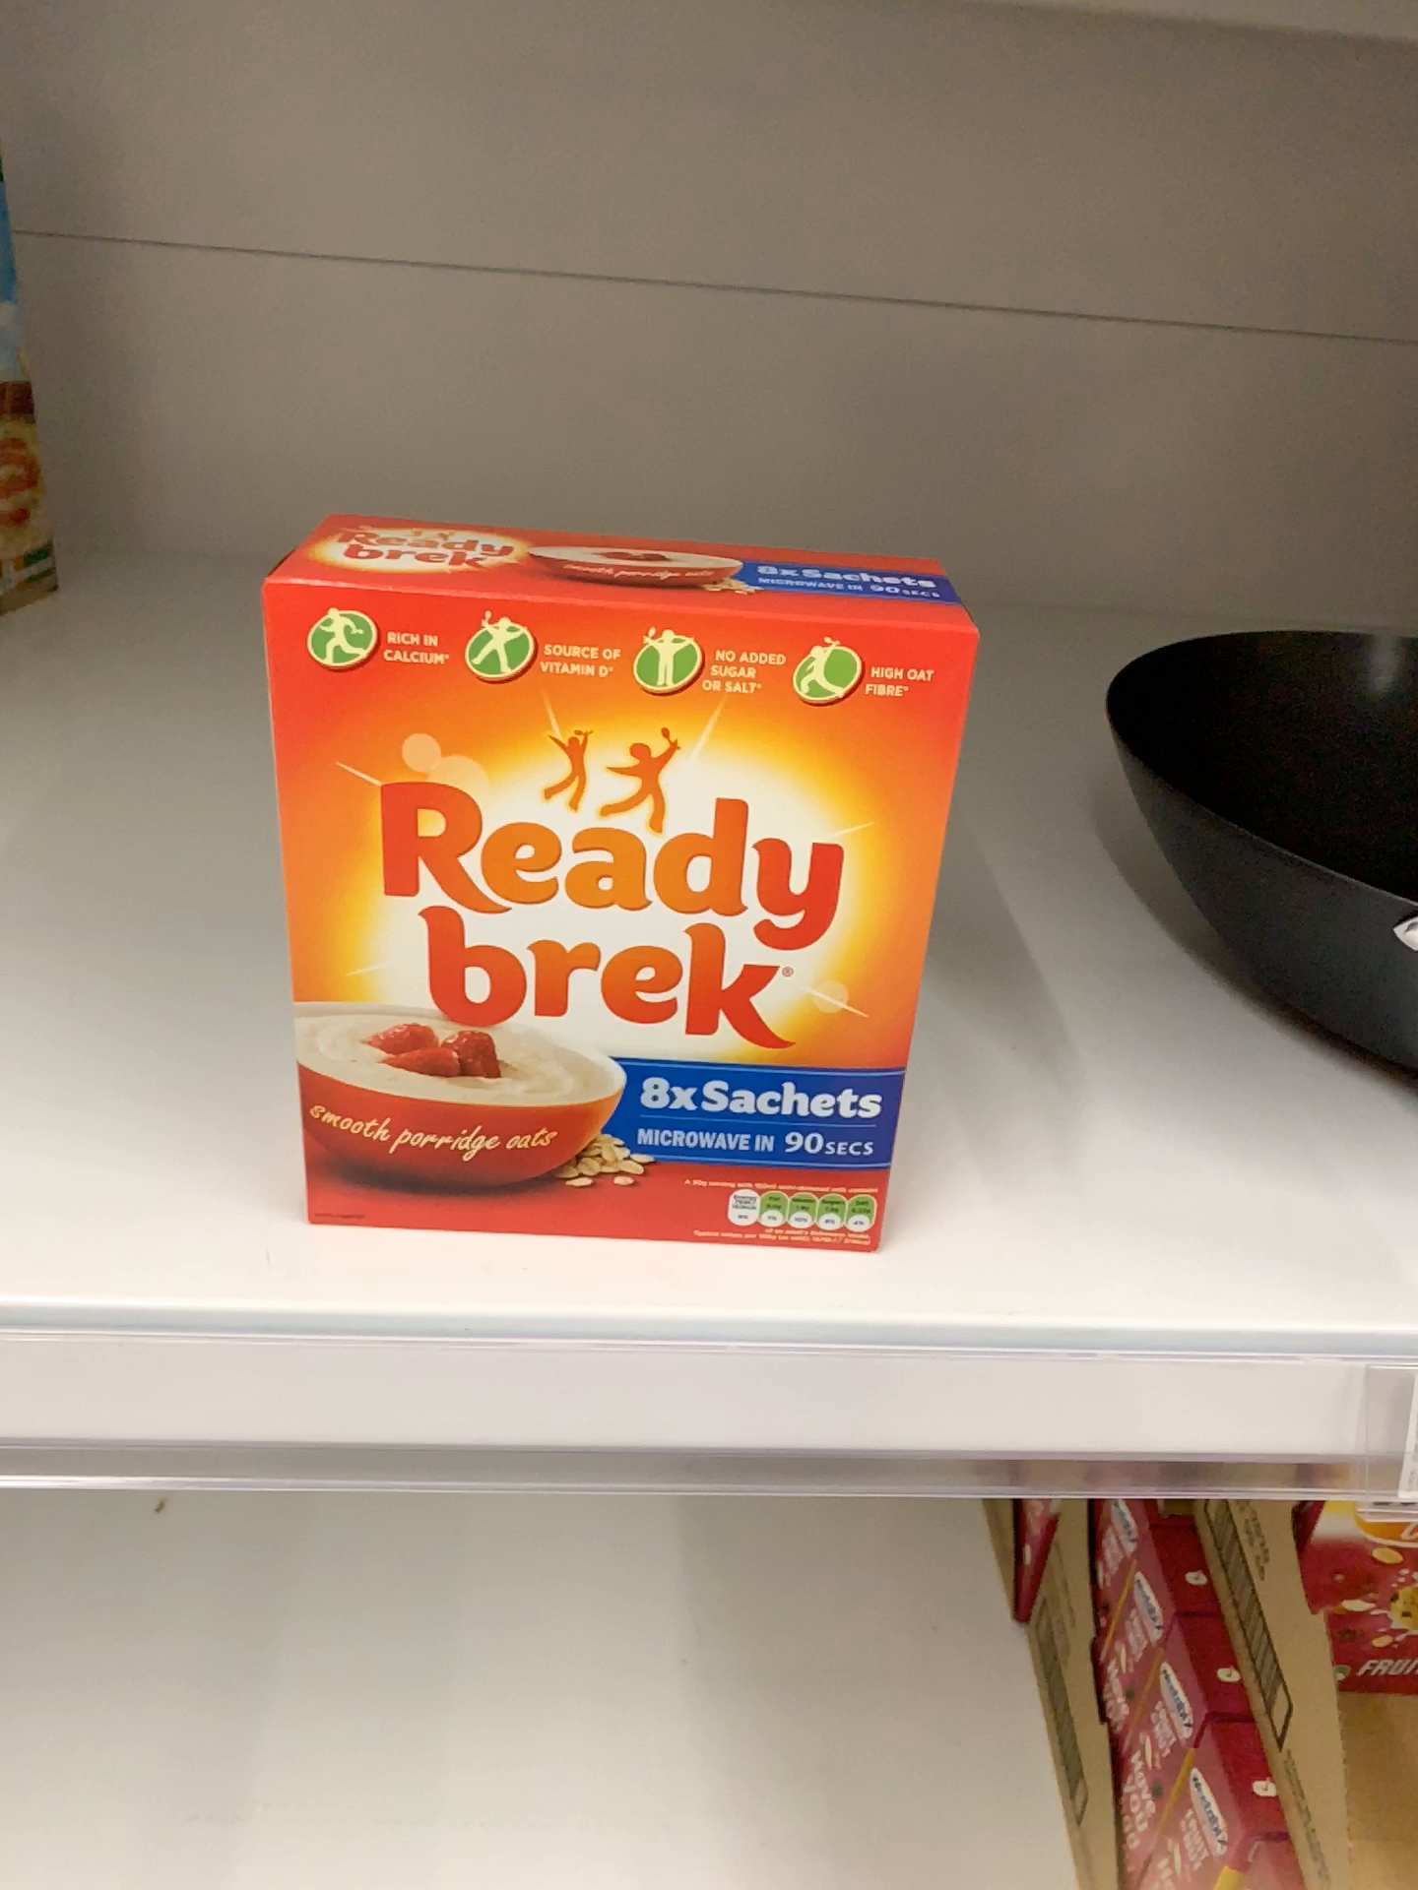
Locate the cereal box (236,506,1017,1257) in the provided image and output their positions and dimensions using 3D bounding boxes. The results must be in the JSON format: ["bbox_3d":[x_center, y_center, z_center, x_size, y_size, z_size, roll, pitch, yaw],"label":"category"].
[{"bbox_3d":[-0.026,-0.013,0.413,0.180,0.188,0.071,4,29,-3],"label":"cereal box"}]
